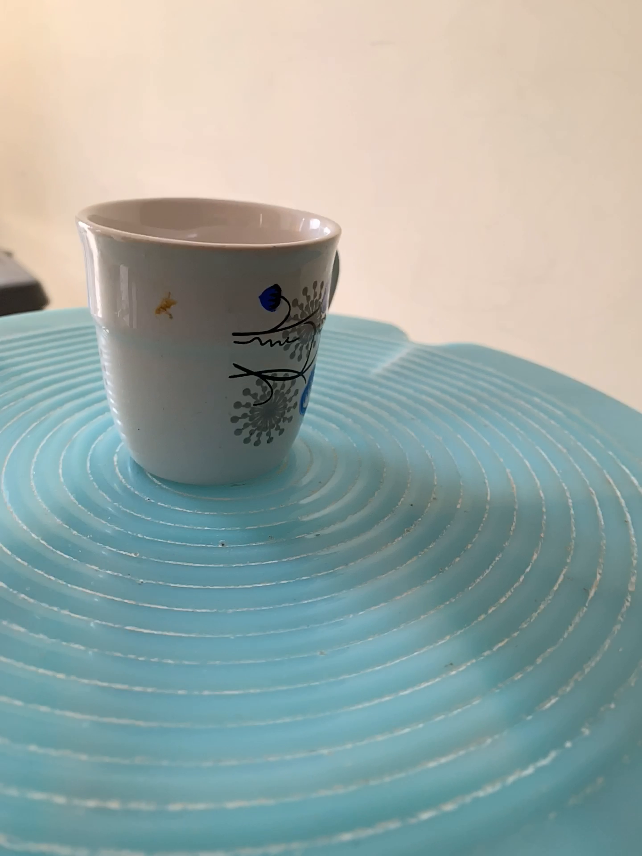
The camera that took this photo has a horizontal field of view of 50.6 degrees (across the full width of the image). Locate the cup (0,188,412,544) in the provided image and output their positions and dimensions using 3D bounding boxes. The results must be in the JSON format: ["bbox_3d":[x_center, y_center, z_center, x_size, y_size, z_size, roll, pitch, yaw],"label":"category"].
[{"bbox_3d":[-0.026,-0.027,0.183,0.070,0.060,0.091,14,26,20],"label":"cup"}]
